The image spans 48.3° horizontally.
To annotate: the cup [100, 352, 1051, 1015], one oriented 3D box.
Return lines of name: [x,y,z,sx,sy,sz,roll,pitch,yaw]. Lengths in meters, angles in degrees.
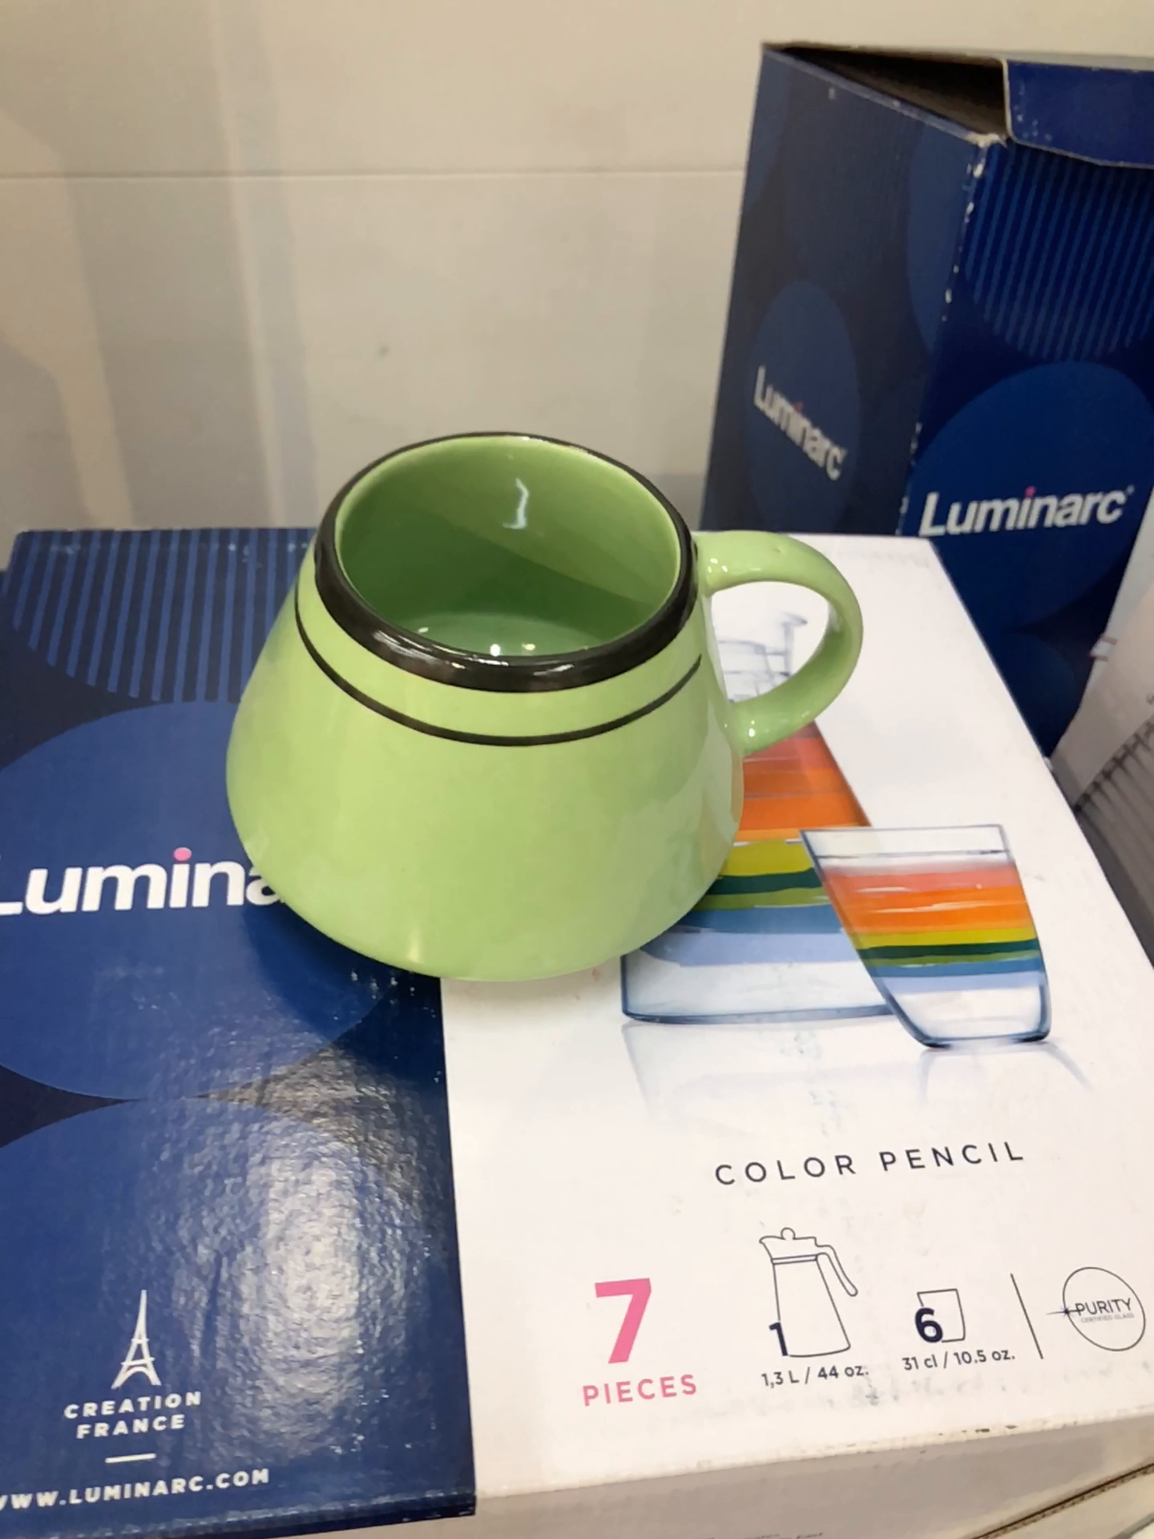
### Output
cup: [-0.005,-0.024,0.252,0.140,0.070,0.111,-3,41,-7]
